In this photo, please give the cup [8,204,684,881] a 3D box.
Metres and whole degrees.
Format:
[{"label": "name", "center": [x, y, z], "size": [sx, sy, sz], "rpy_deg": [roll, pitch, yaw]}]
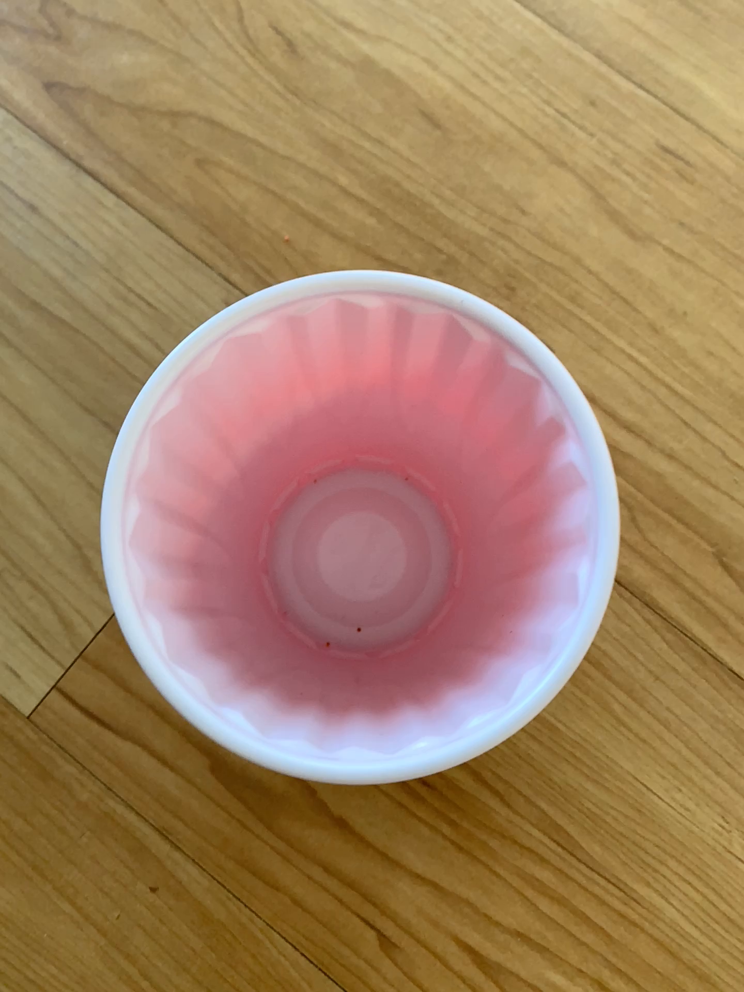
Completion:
[{"label": "cup", "center": [-0.007, 0.011, 0.184], "size": [0.100, 0.090, 0.100], "rpy_deg": [0, 81, 0]}]
